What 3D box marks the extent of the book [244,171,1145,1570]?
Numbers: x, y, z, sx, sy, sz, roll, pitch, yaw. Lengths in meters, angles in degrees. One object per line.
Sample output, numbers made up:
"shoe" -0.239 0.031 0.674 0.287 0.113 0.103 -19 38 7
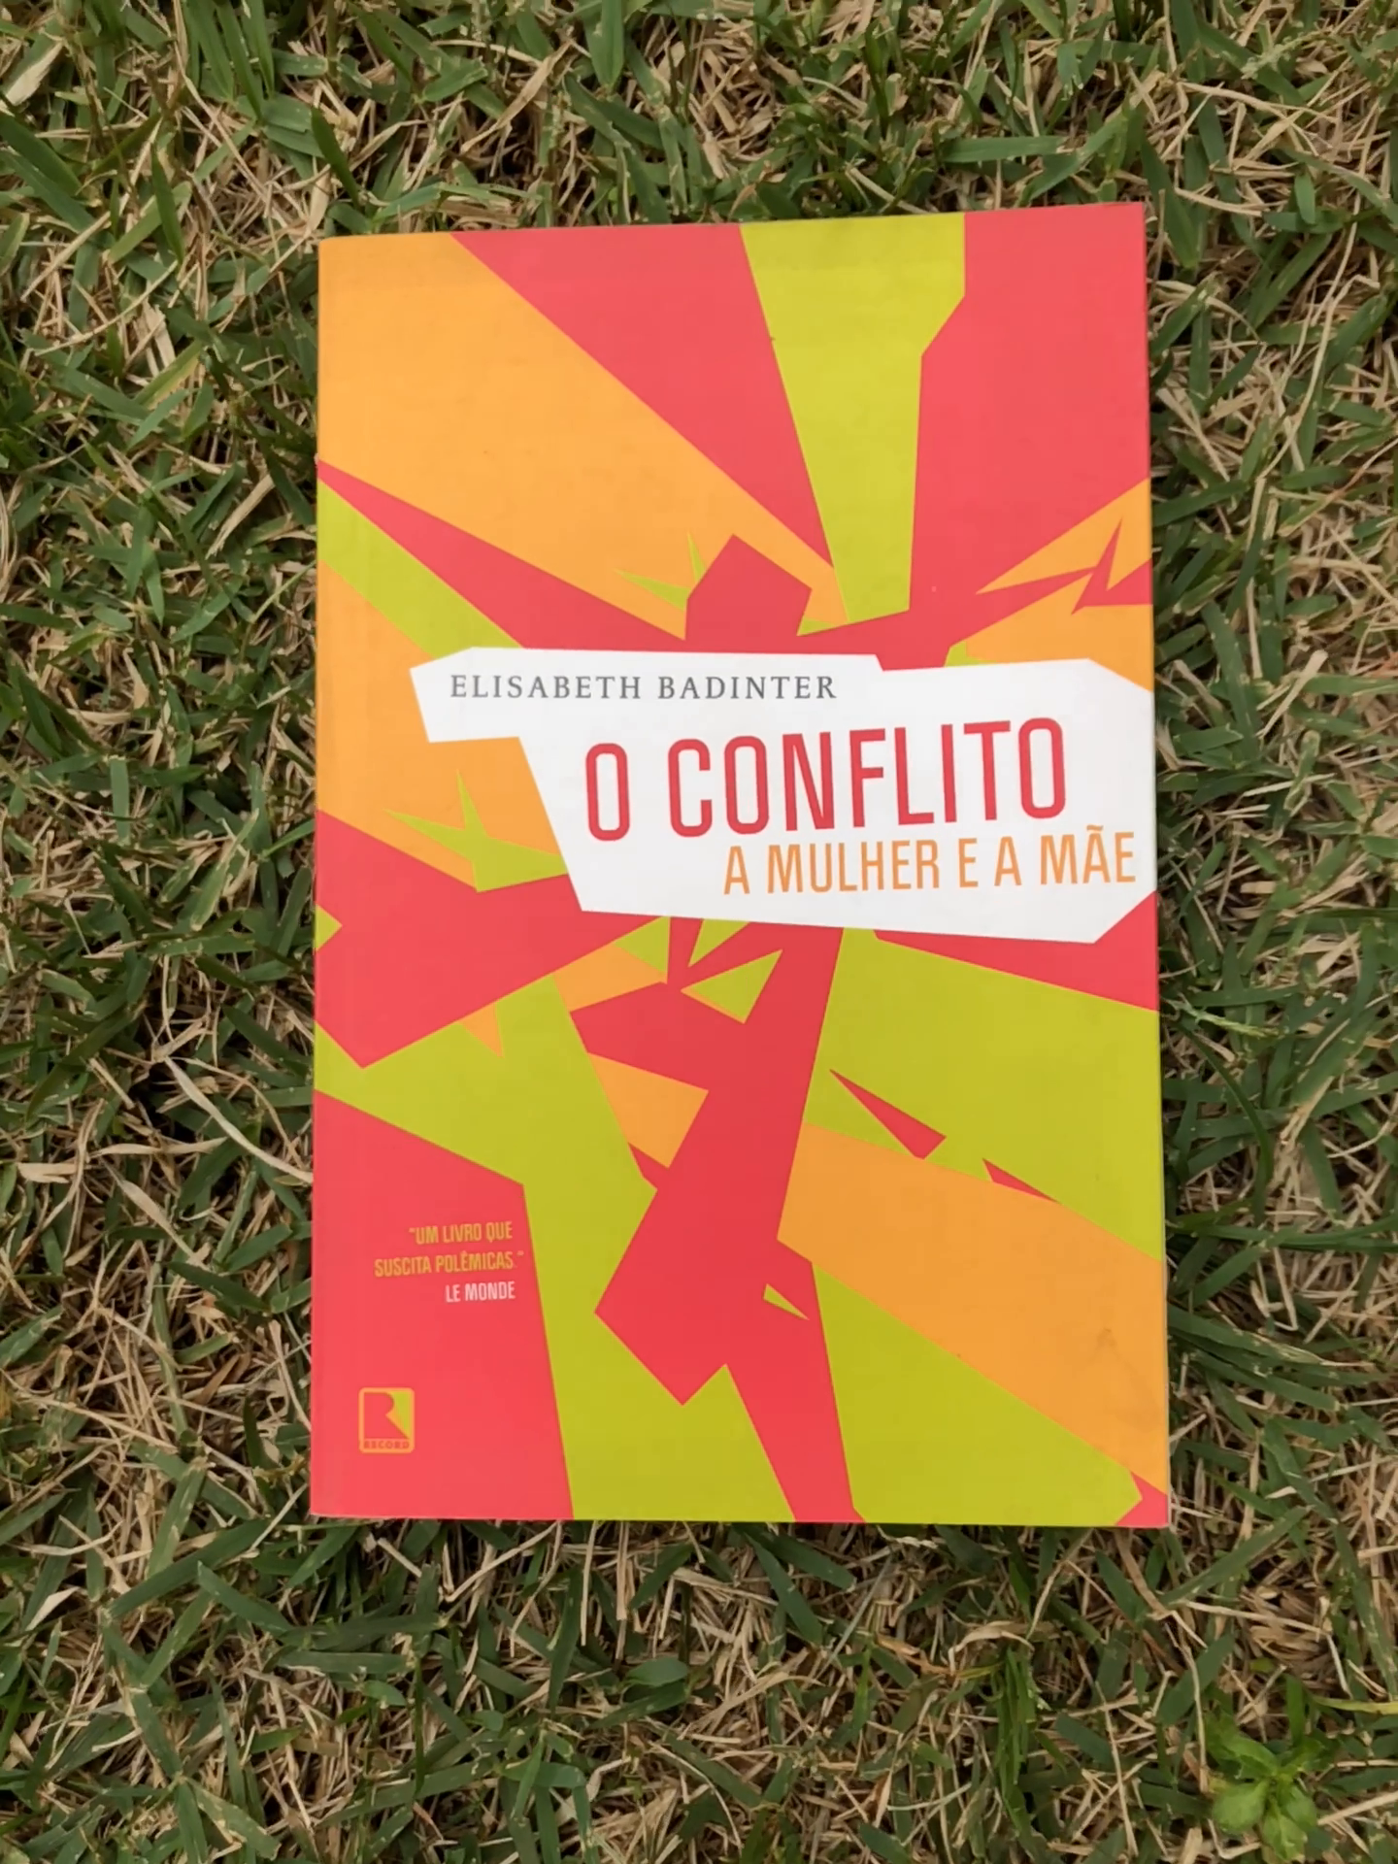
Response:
"book" -0.001 -0.010 0.238 0.130 0.020 0.200 0 88 5
